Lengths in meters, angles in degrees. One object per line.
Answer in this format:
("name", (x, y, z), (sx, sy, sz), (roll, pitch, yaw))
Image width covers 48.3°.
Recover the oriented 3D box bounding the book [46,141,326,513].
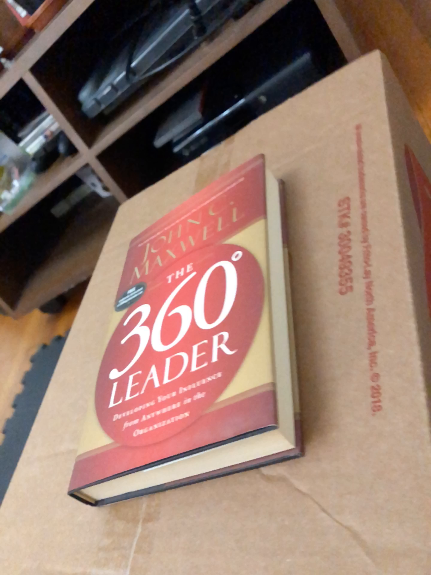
("book", (-0.019, 0.018, 0.345), (0.180, 0.030, 0.241), (-27, 38, 30))
